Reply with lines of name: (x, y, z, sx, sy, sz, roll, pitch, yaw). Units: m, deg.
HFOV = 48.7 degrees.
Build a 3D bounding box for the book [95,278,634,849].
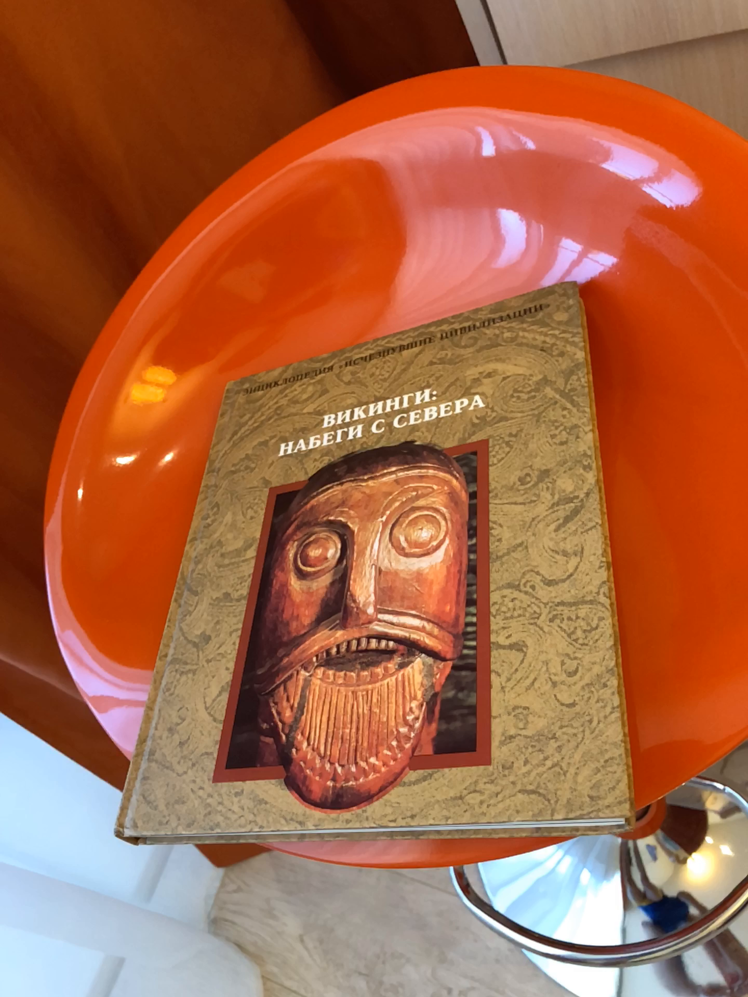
book: (-0.003, 0.022, 0.385, 0.215, 0.022, 0.261, -11, 51, 24)
